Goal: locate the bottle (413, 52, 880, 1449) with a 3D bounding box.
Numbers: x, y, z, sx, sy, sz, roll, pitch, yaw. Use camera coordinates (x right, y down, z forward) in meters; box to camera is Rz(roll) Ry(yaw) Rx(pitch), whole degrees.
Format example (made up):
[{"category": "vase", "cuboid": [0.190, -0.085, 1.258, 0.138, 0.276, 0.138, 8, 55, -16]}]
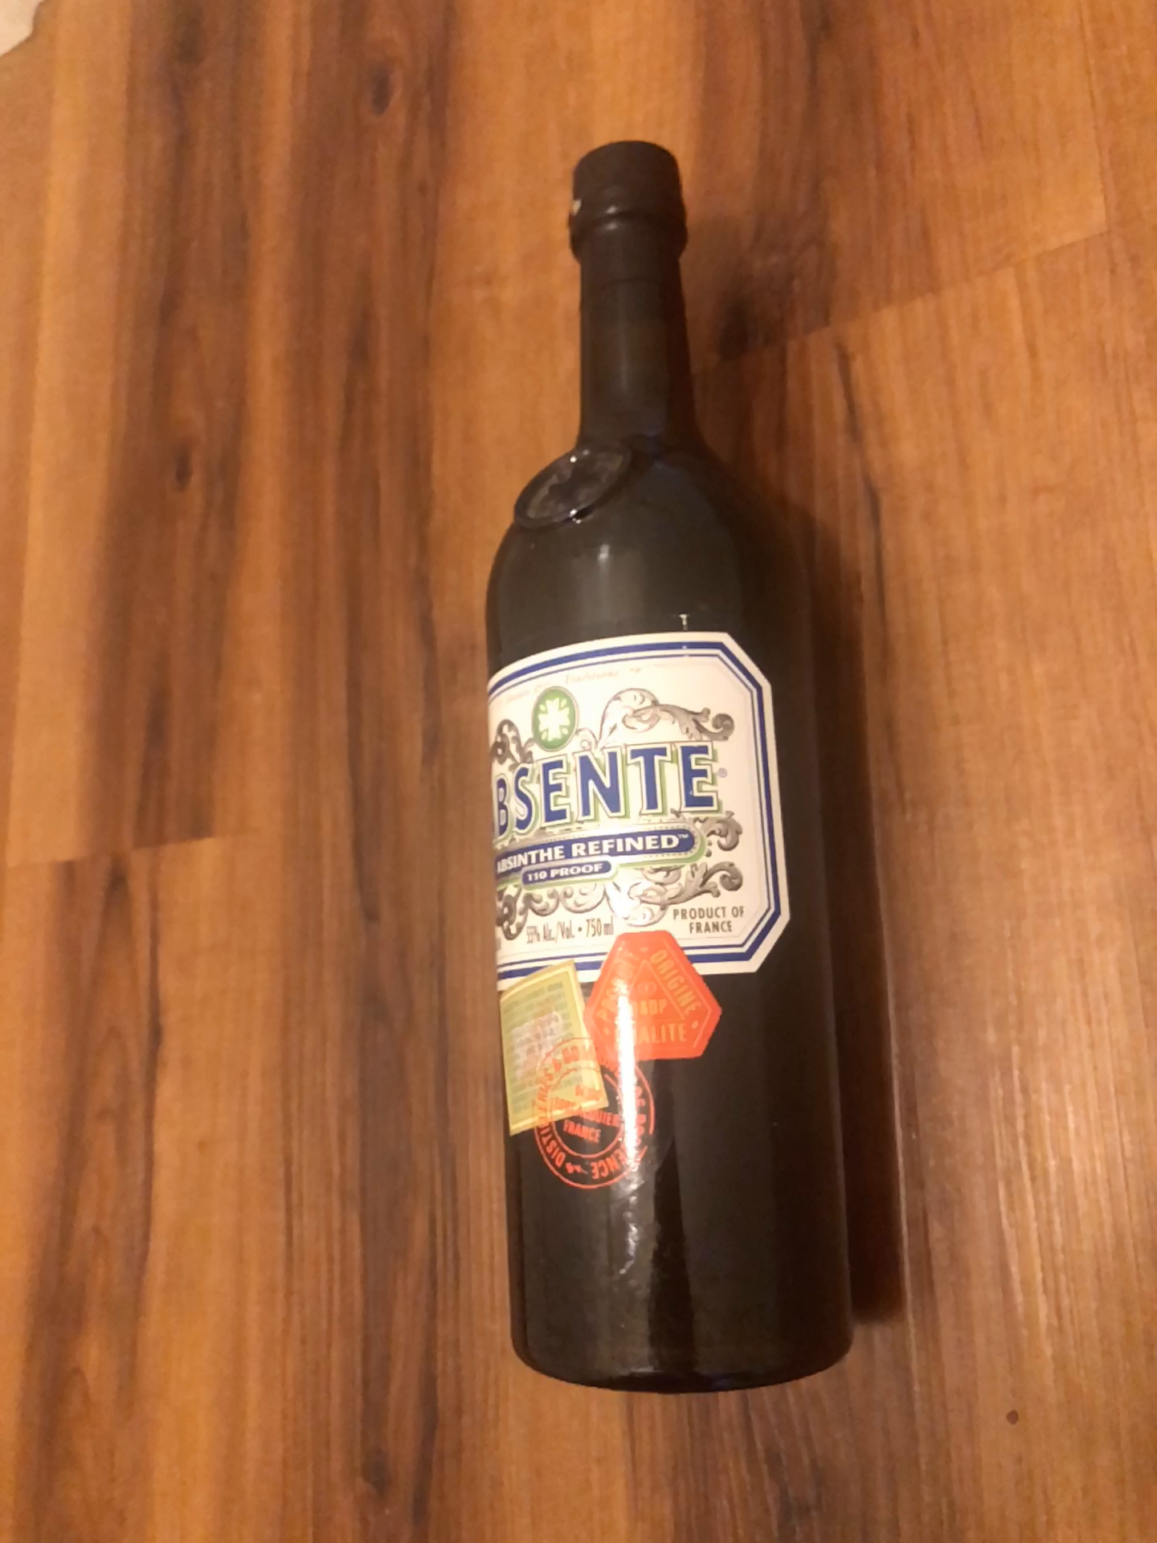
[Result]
[{"category": "bottle", "cuboid": [0.013, -0.010, 0.320, 0.080, 0.070, 0.300, -9, 76, 33]}]
